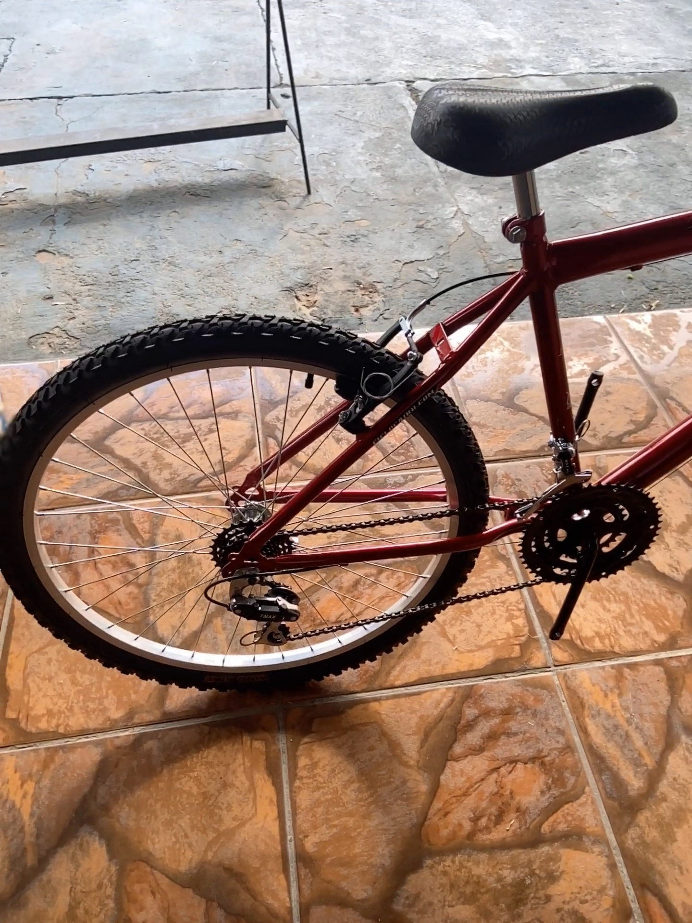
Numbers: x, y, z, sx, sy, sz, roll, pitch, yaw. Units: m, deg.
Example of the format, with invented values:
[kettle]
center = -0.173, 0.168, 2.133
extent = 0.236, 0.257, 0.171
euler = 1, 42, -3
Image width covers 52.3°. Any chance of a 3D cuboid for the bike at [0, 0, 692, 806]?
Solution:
[bike]
center = 0.299, -0.187, 0.987
extent = 1.557, 0.986, 0.601
euler = -10, 50, -11
